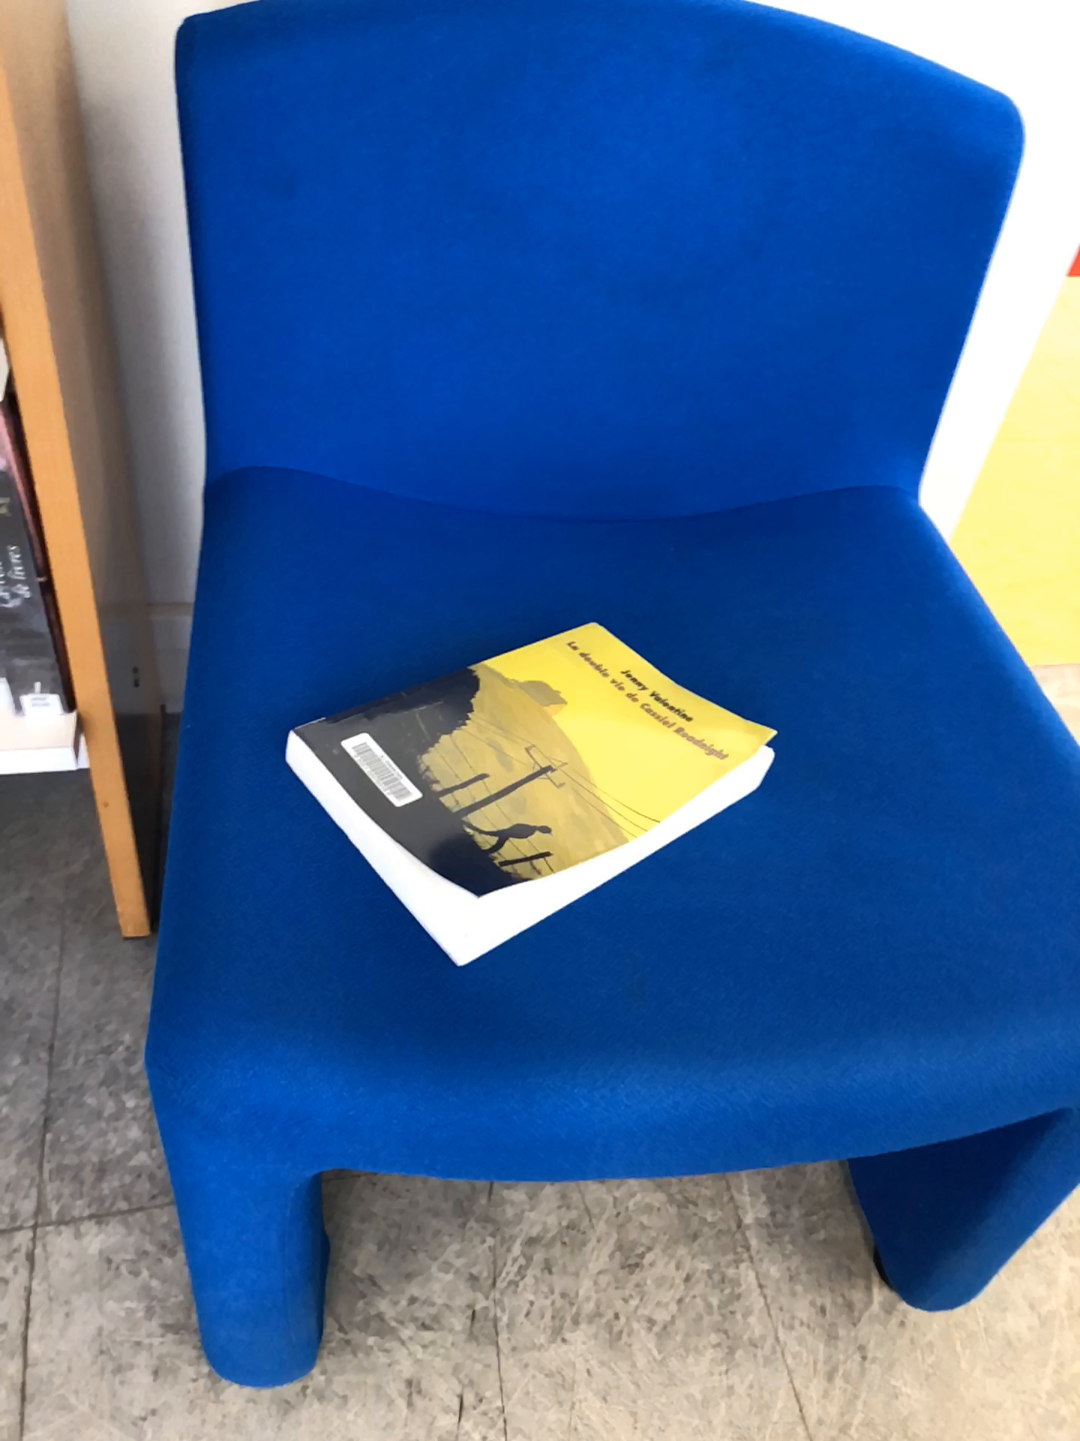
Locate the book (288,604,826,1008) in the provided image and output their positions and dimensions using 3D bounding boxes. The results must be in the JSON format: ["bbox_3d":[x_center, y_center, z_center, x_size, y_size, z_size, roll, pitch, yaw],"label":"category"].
[{"bbox_3d":[0.011,0.027,0.573,0.215,0.040,0.145,-23,52,-35],"label":"book"}]
